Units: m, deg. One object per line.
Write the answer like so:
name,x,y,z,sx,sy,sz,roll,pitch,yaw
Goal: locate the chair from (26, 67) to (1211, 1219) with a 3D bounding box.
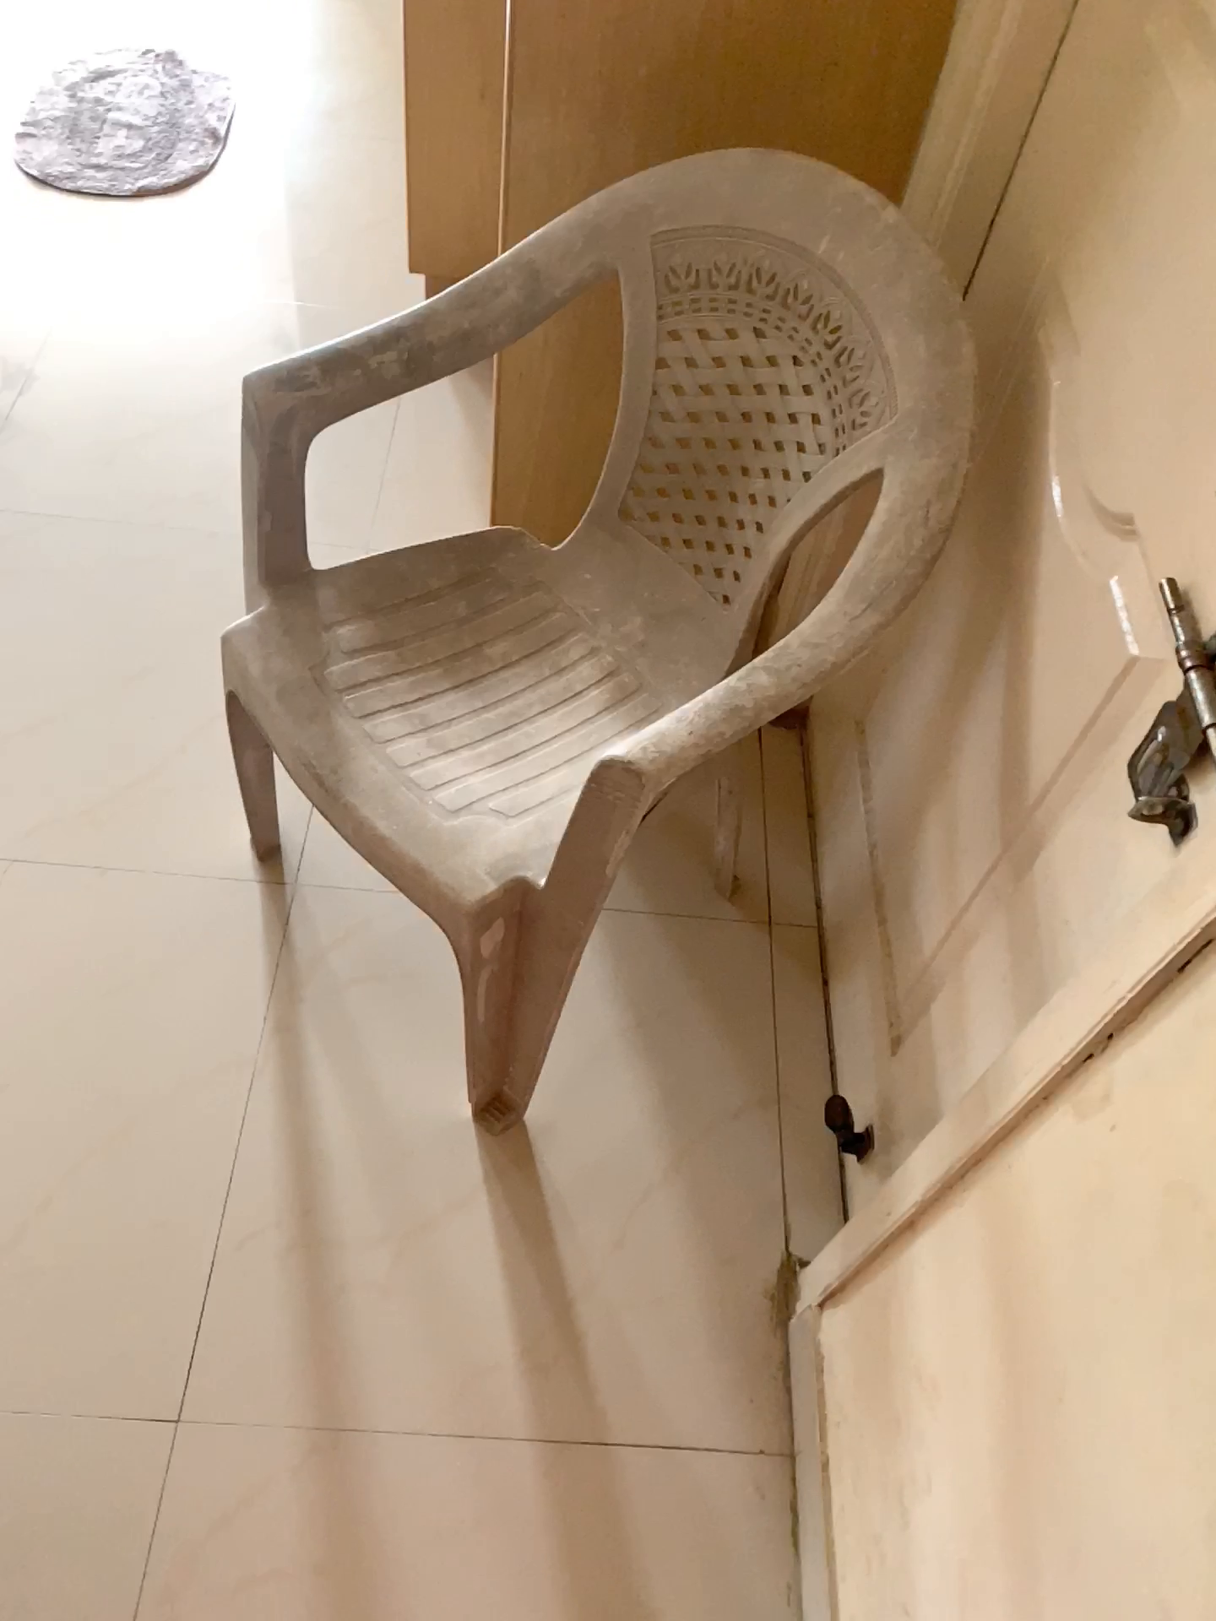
chair,-0.022,-0.156,1.232,0.672,0.725,0.612,-30,63,-26
